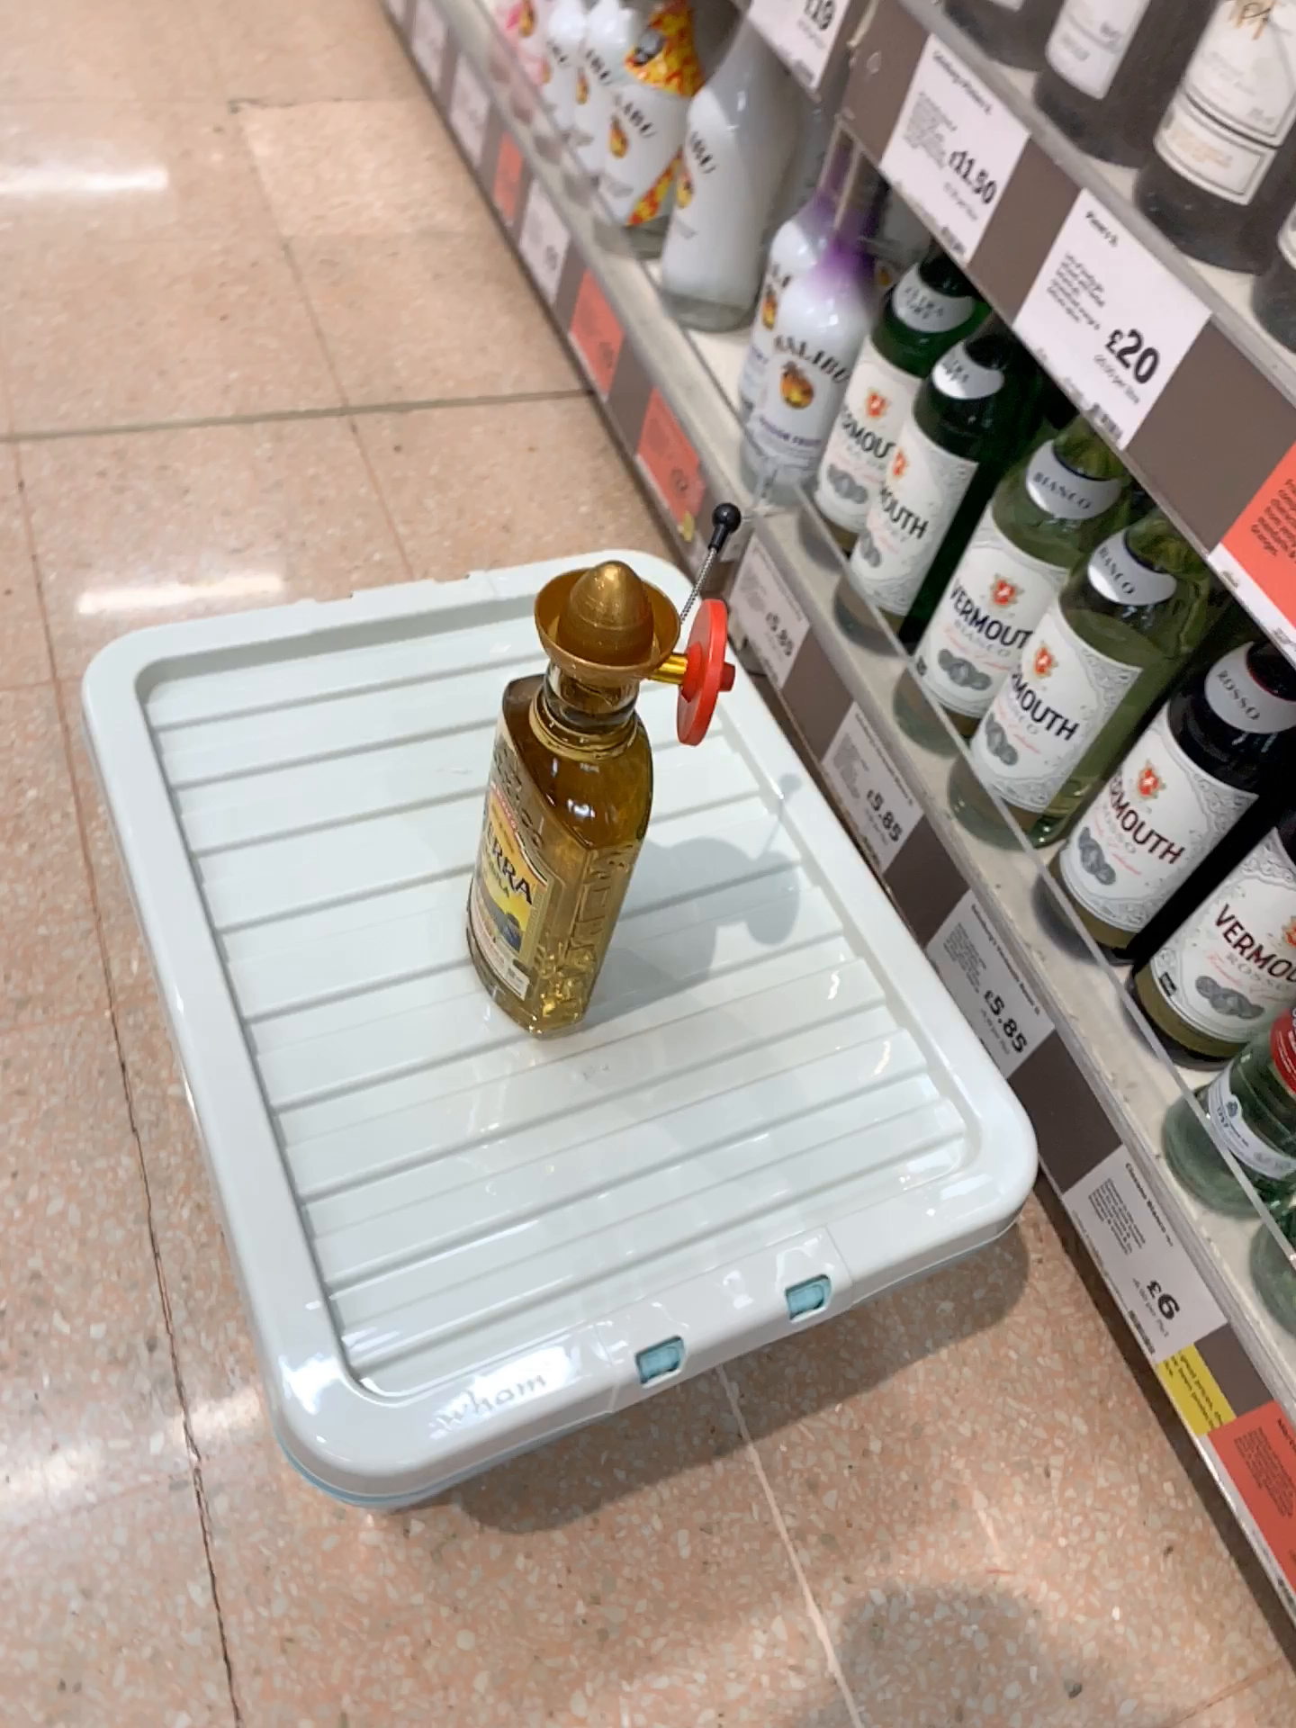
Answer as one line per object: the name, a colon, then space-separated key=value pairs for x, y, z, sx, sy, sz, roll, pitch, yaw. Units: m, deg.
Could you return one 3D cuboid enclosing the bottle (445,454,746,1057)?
bottle: x=-0.035 y=-0.030 z=0.560 sx=0.058 sy=0.258 sz=0.101 roll=-14 pitch=58 yaw=-21
